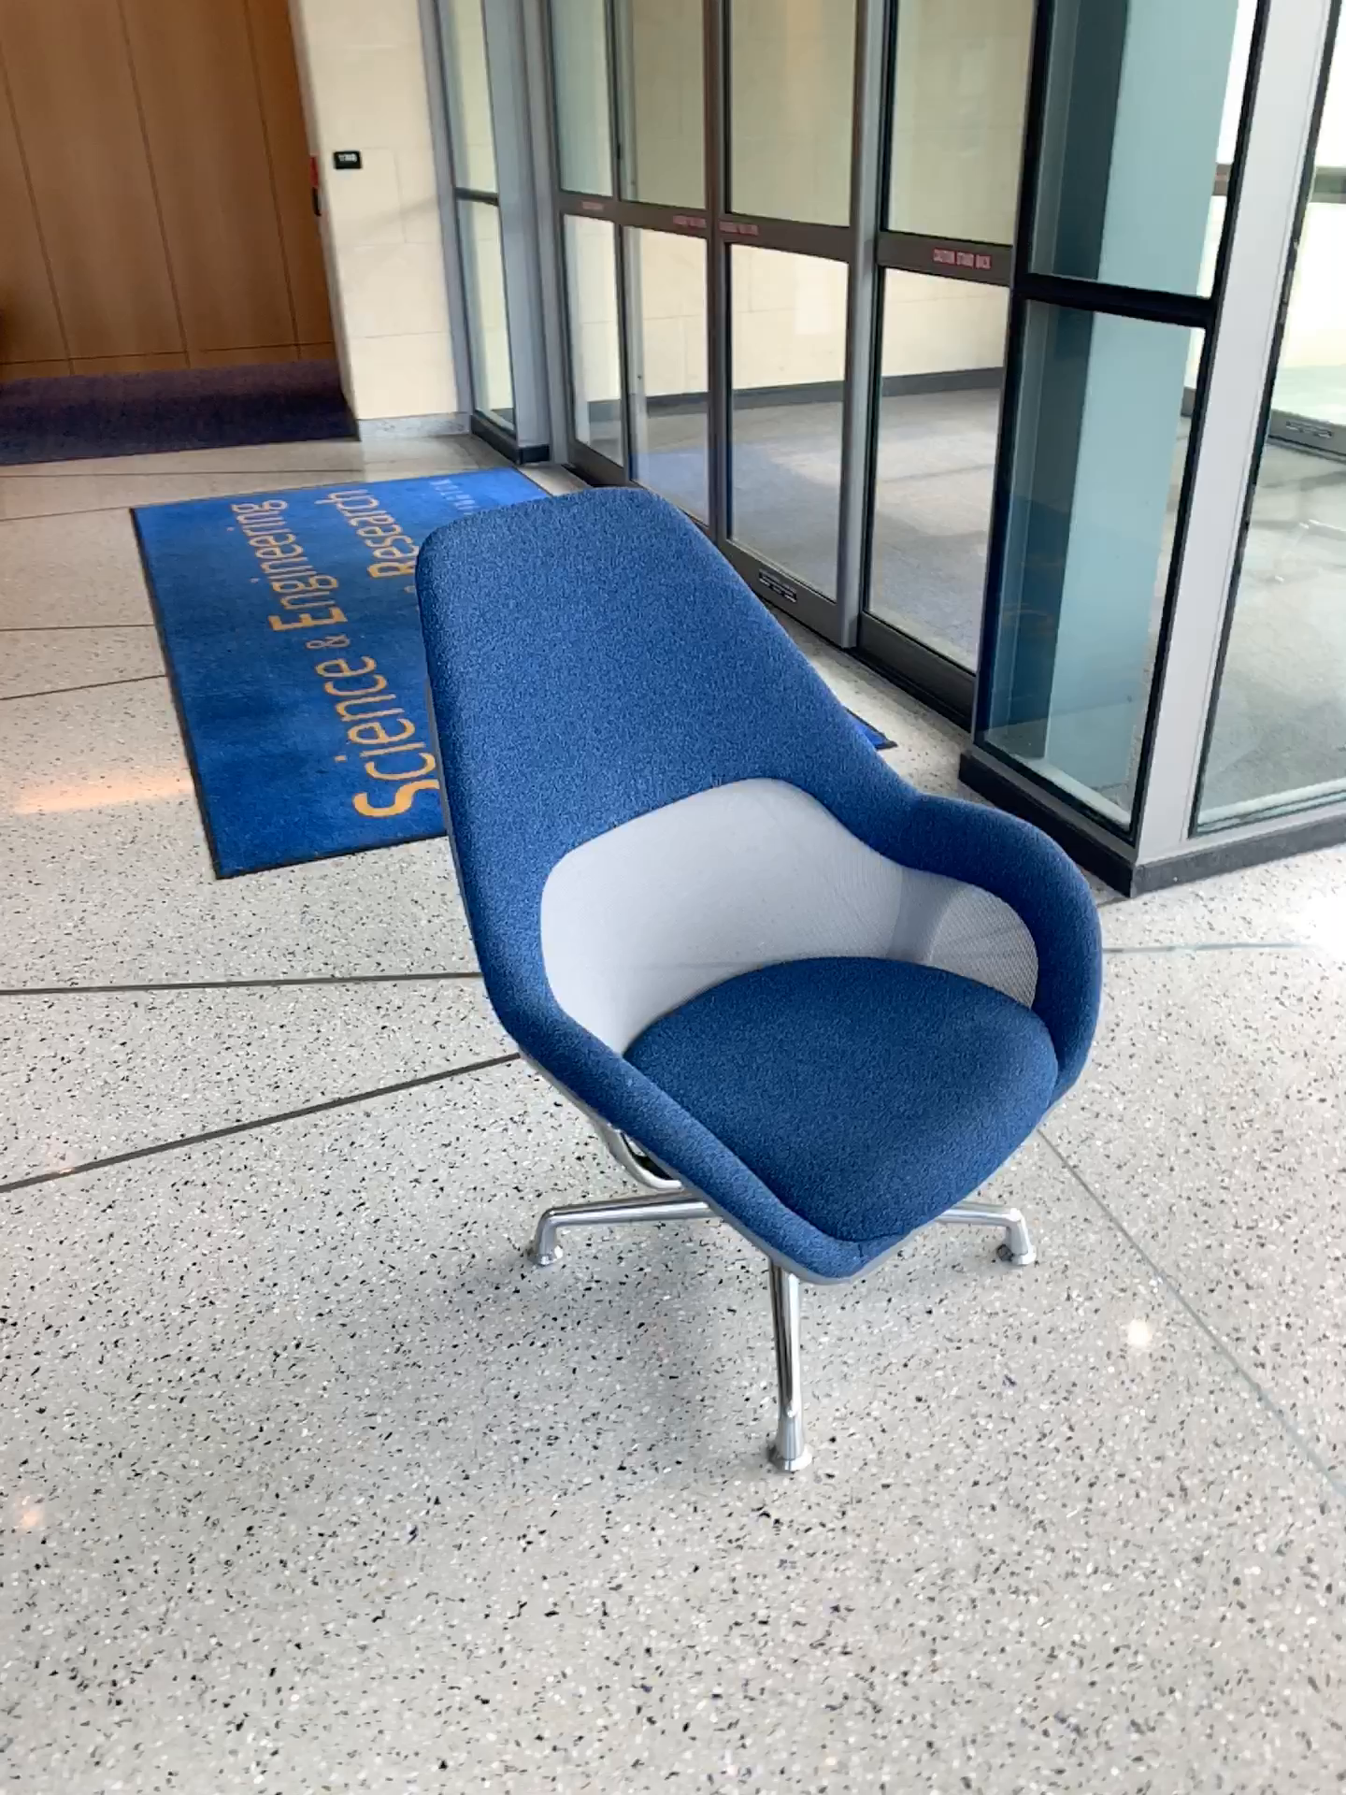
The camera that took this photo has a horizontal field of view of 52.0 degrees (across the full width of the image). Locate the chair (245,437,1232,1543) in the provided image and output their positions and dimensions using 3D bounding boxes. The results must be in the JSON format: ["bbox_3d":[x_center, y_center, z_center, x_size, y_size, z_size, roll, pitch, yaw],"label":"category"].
[{"bbox_3d":[0.073,0.016,1.716,0.727,0.933,0.787,-26,37,-37],"label":"chair"}]
